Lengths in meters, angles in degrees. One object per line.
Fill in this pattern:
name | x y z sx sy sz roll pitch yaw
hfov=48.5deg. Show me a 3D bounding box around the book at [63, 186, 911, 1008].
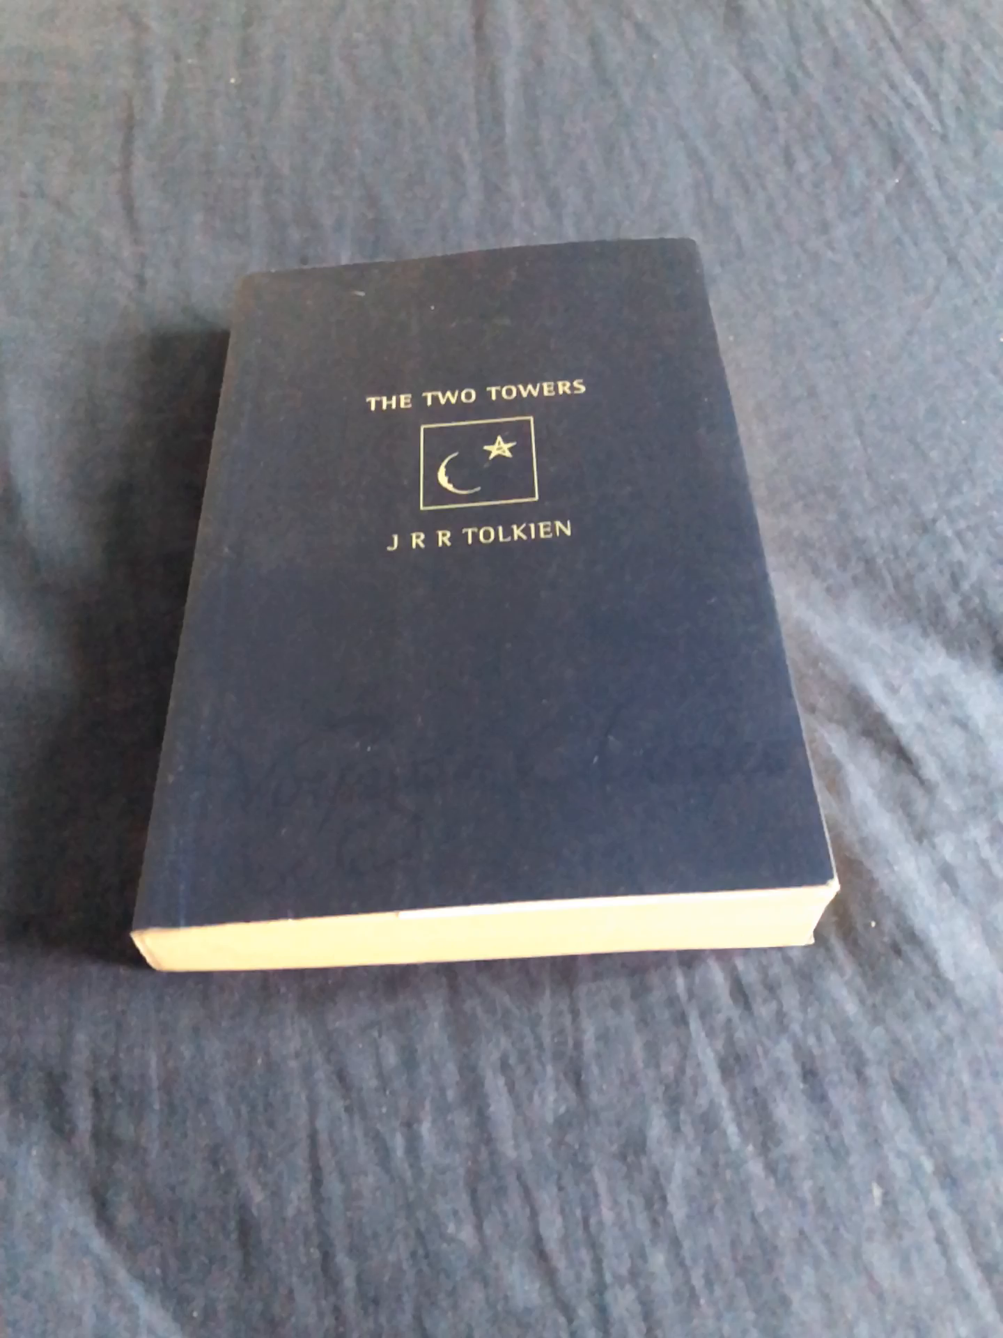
book | -0.007 -0.029 0.263 0.140 0.060 0.191 -3 55 -1
